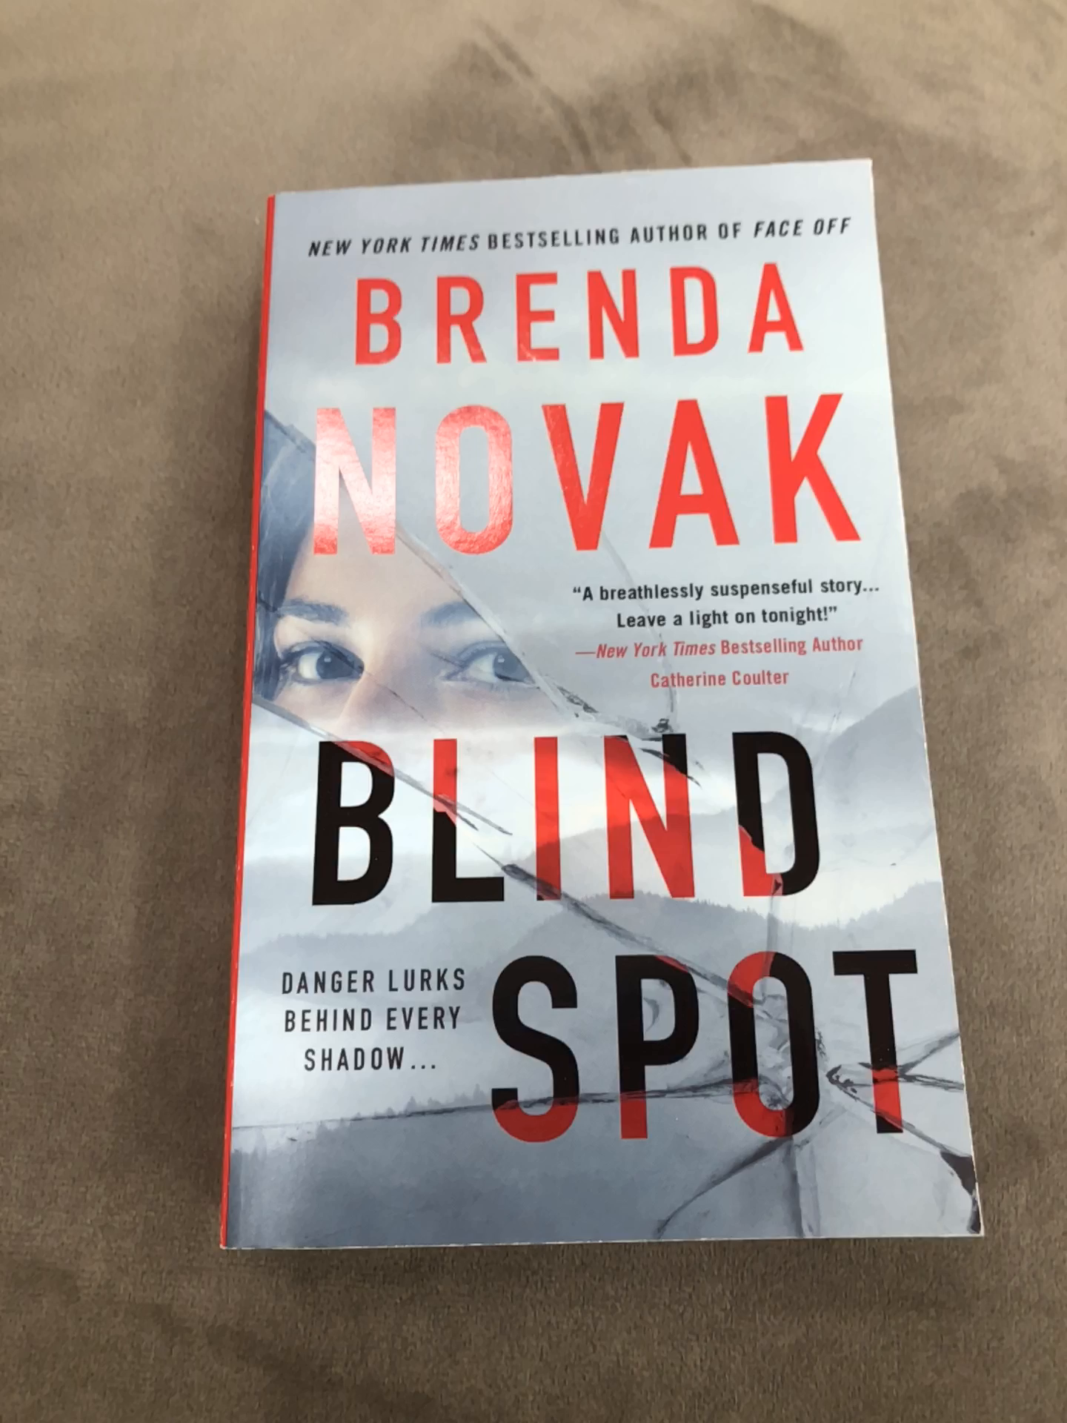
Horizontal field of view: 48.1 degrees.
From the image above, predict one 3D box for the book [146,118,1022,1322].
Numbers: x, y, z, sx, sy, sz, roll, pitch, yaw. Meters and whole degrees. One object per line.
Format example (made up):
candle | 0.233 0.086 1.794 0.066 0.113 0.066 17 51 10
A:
book | 0.005 -0.002 0.212 0.120 0.050 0.190 -3 75 5
